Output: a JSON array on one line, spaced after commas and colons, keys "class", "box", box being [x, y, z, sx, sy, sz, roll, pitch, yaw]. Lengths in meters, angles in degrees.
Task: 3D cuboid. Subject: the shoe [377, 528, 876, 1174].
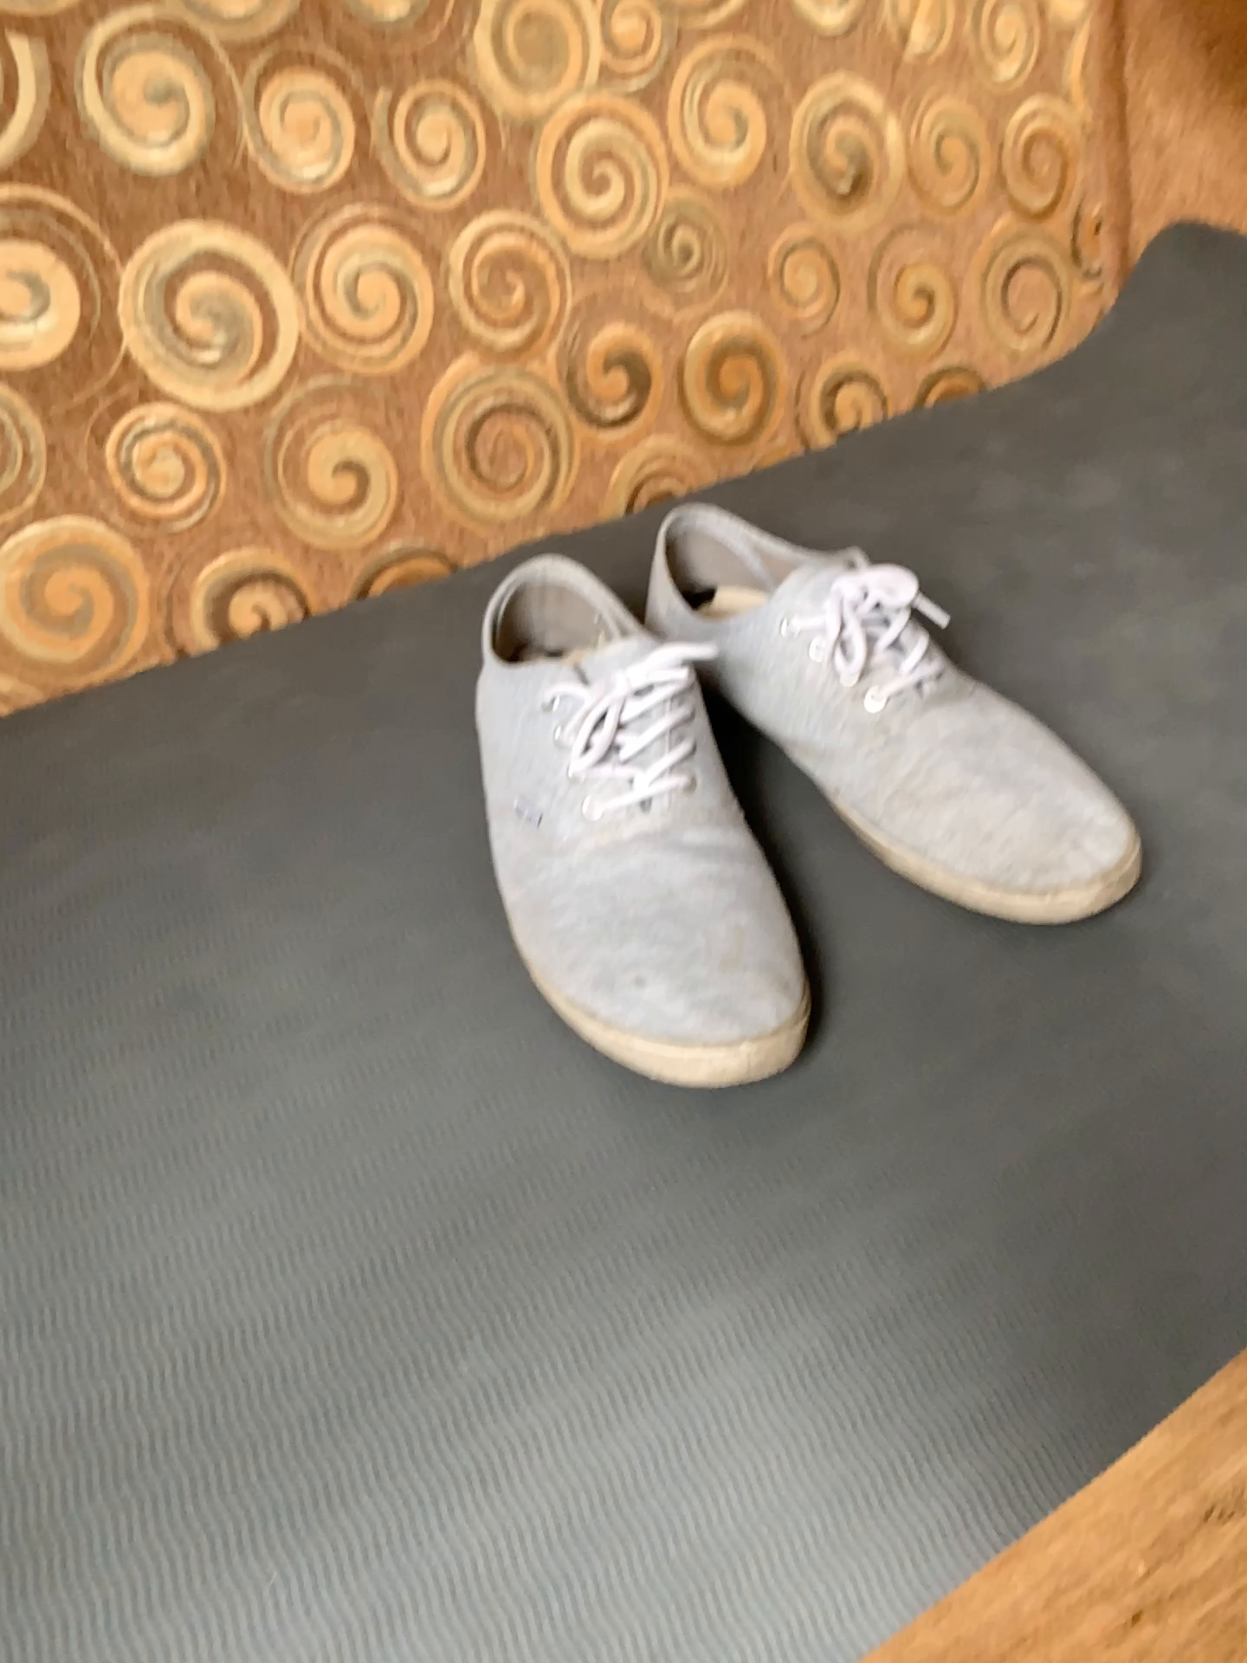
[{"class": "shoe", "box": [-0.014, -0.011, 0.506, 0.110, 0.080, 0.261, -13, 44, -12]}]

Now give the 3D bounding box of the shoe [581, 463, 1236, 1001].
[{"class": "shoe", "box": [0.105, -0.058, 0.558, 0.110, 0.080, 0.261, -29, 50, -26]}]
